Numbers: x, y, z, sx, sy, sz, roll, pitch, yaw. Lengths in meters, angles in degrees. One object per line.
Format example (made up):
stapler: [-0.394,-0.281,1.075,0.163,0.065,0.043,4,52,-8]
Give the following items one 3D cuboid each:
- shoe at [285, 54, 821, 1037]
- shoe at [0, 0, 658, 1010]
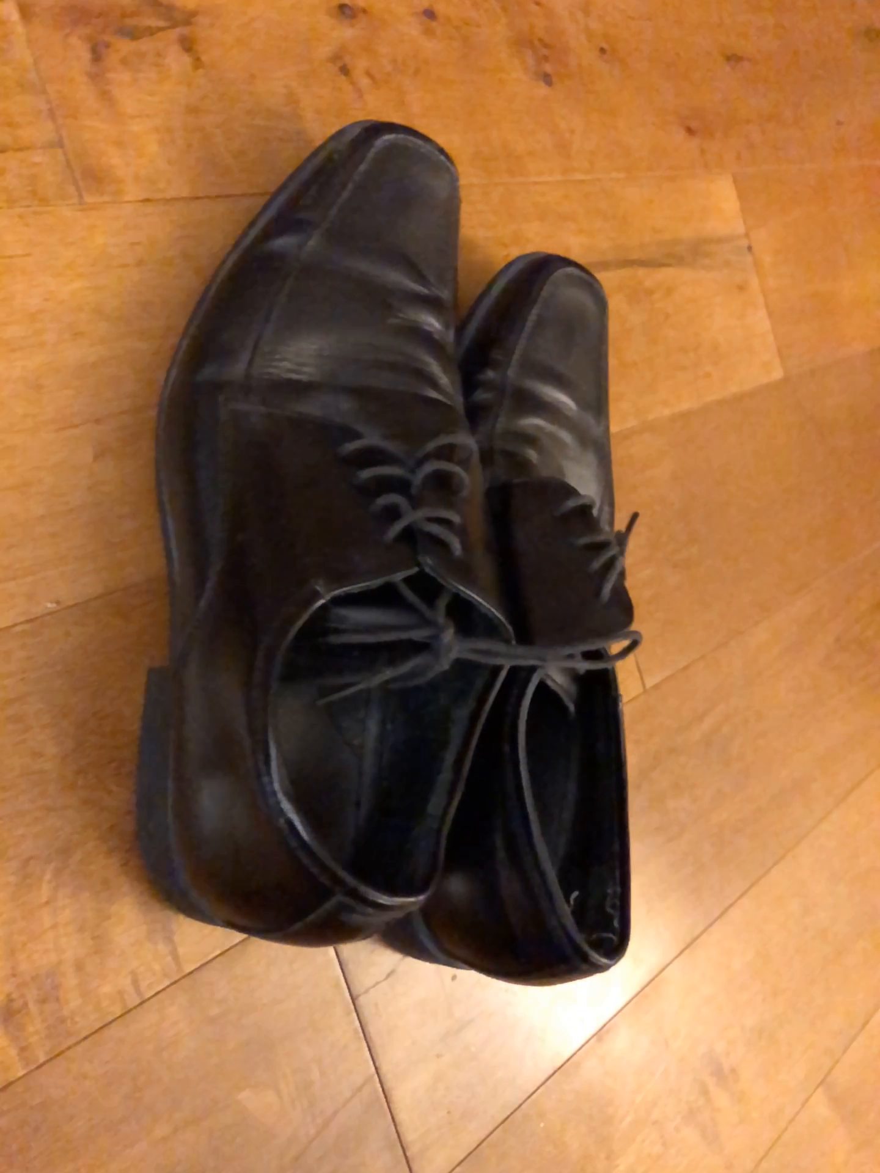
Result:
shoe: [0.049,-0.010,0.372,0.110,0.129,0.310,19,72,-36]
shoe: [-0.030,-0.044,0.315,0.110,0.129,0.310,19,72,-36]
